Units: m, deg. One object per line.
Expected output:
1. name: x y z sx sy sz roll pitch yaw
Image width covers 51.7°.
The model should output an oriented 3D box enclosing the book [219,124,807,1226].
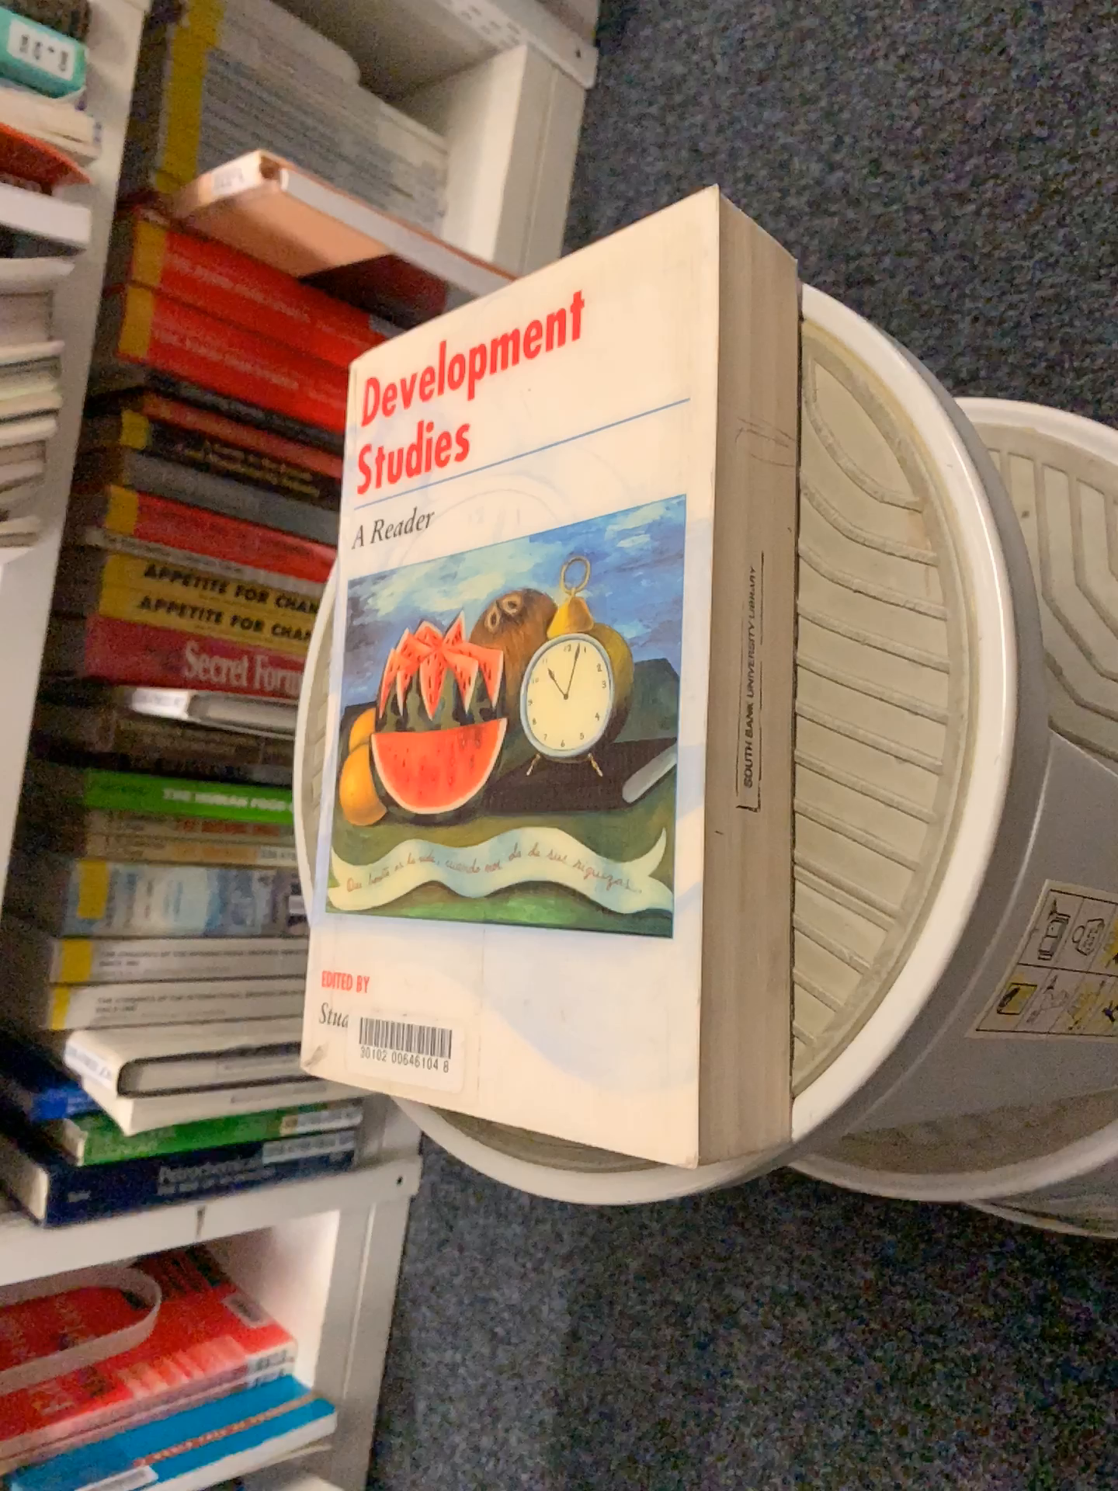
1. book: -0.019 -0.014 0.303 0.160 0.045 0.224 -4 81 43
